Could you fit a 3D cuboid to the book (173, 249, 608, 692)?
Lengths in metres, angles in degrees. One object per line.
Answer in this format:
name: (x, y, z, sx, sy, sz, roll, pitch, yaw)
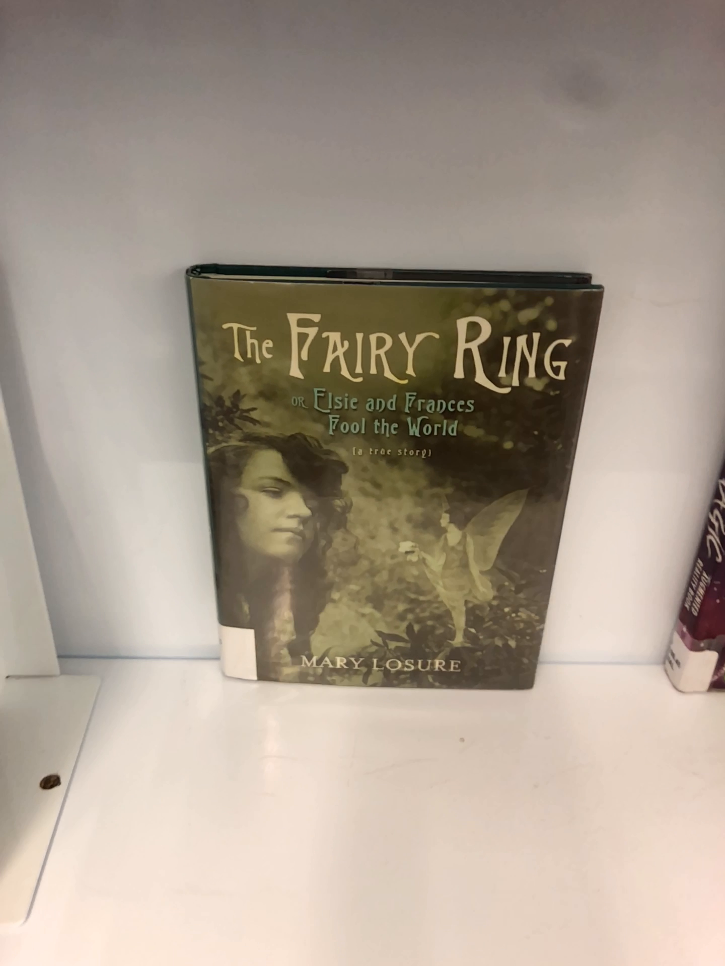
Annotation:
book: (0.008, 0.004, 0.335, 0.150, 0.190, 0.028, 1, 28, 0)
